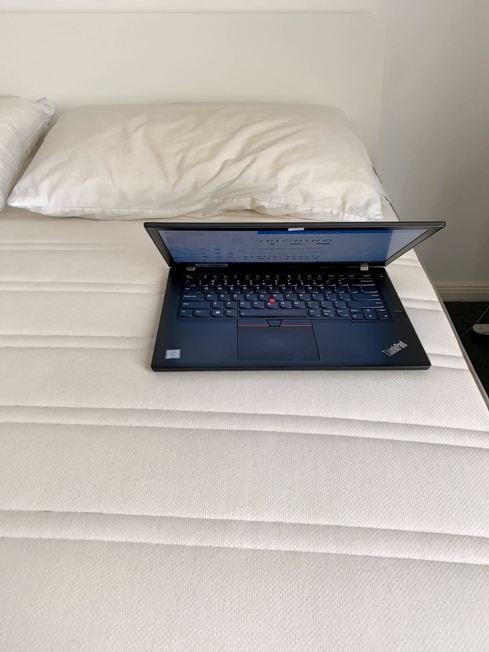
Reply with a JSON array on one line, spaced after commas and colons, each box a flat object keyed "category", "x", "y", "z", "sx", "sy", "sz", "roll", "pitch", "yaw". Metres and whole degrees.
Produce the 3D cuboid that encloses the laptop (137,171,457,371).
[{"category": "laptop", "x": 0.052, "y": -0.079, "z": 0.633, "sx": 0.324, "sy": 0.150, "sz": 0.221, "roll": -1, "pitch": 38, "yaw": -2}]
